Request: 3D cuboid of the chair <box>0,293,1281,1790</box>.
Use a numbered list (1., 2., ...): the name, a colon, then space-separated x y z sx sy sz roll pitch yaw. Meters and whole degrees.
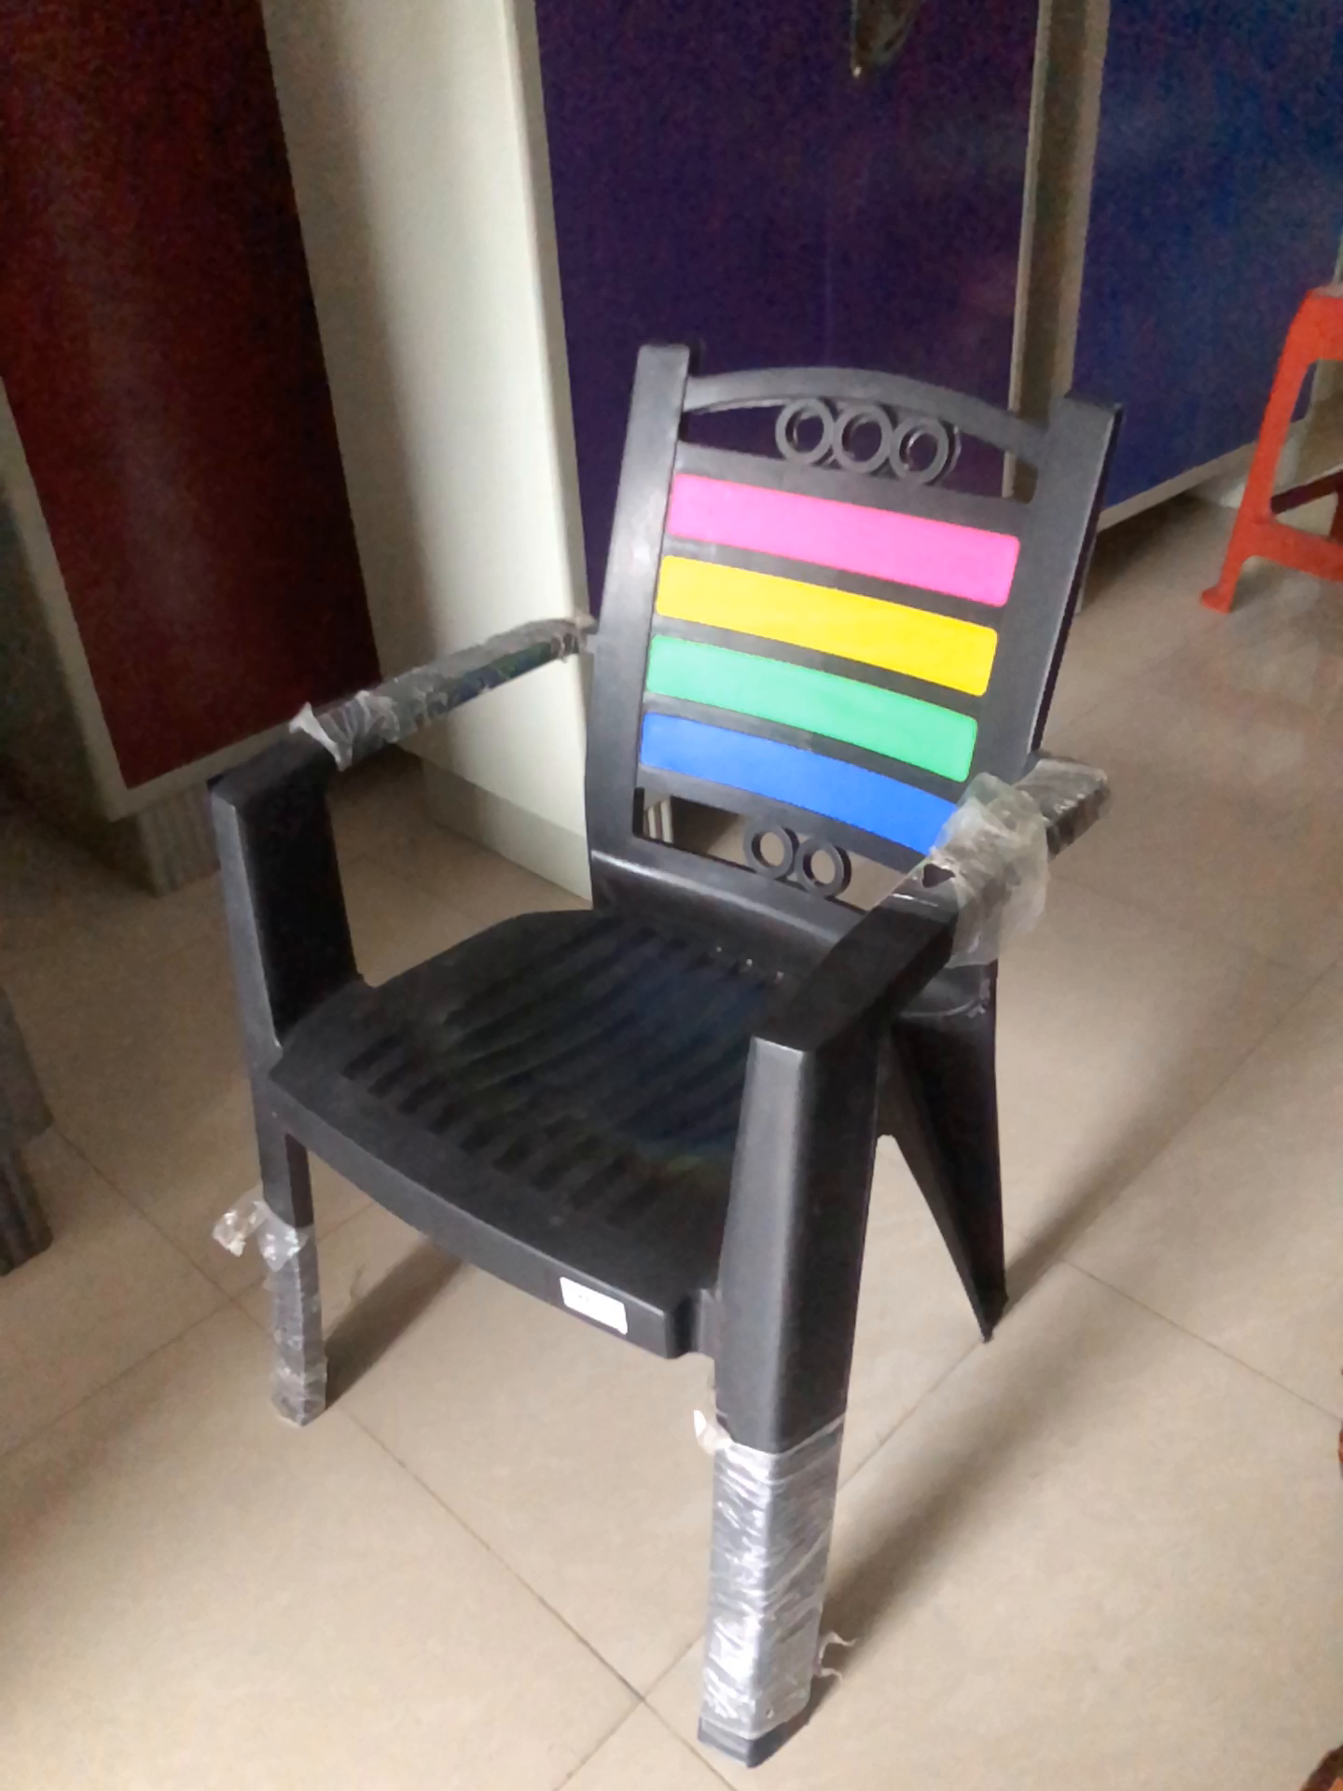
1. chair: 0.006 0.090 1.256 0.641 0.975 0.613 22 42 34
